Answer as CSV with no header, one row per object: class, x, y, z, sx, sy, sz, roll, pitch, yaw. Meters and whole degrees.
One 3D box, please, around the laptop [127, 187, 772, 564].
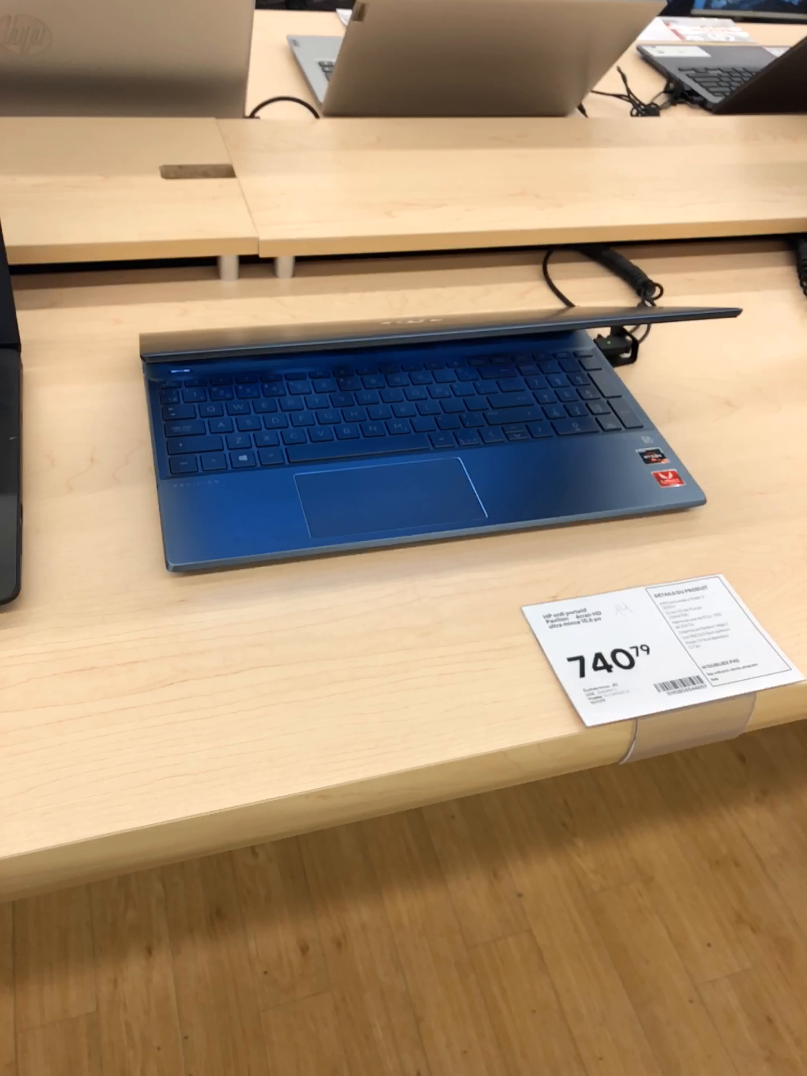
laptop,0.014,-0.122,0.584,0.350,0.119,0.209,-7,47,-15
